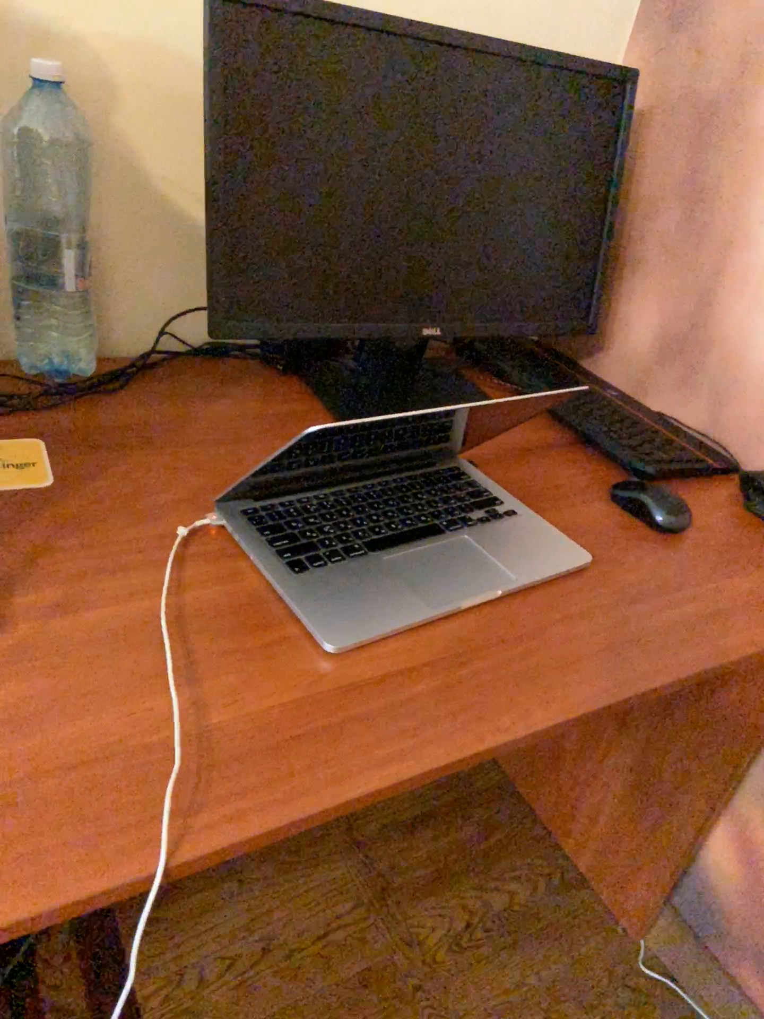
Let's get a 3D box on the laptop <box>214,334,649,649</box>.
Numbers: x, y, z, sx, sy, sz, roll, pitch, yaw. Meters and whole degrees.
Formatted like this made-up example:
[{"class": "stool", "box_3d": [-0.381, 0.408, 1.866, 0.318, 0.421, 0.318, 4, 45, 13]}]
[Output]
[{"class": "laptop", "box_3d": [0.040, -0.040, 0.696, 0.307, 0.148, 0.204, -13, 39, -35]}]
